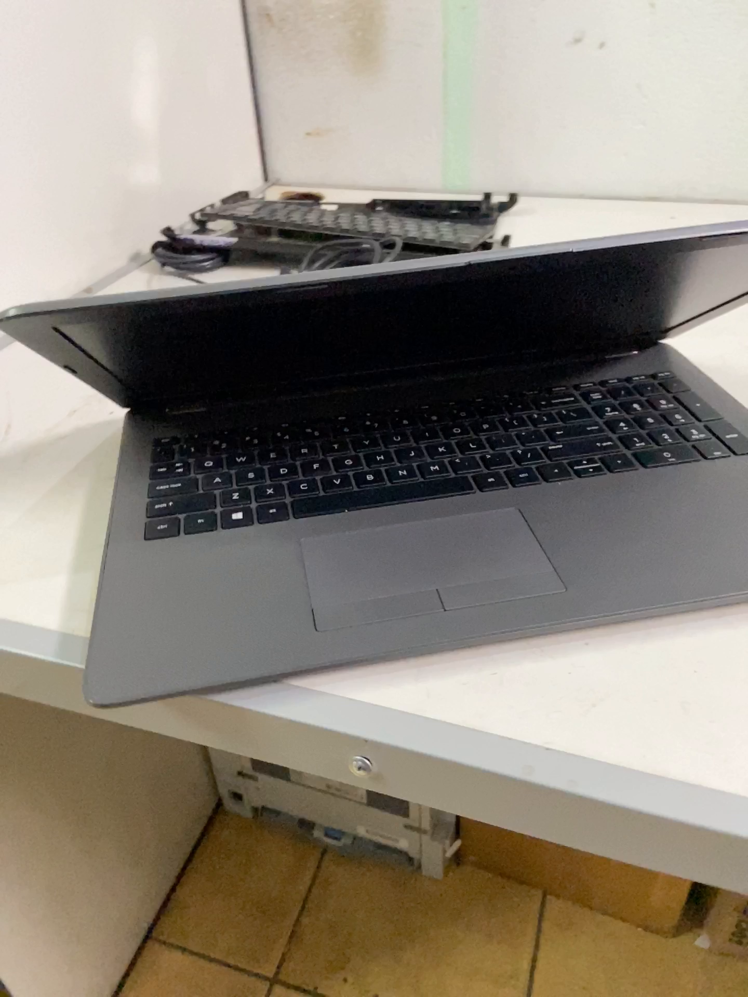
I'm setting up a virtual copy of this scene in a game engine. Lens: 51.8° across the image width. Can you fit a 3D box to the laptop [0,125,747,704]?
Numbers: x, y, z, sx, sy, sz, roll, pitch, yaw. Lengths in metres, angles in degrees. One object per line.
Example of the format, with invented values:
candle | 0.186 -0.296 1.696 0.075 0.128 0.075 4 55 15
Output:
laptop | 0.041 -0.073 0.392 0.379 0.141 0.249 -9 36 -7
